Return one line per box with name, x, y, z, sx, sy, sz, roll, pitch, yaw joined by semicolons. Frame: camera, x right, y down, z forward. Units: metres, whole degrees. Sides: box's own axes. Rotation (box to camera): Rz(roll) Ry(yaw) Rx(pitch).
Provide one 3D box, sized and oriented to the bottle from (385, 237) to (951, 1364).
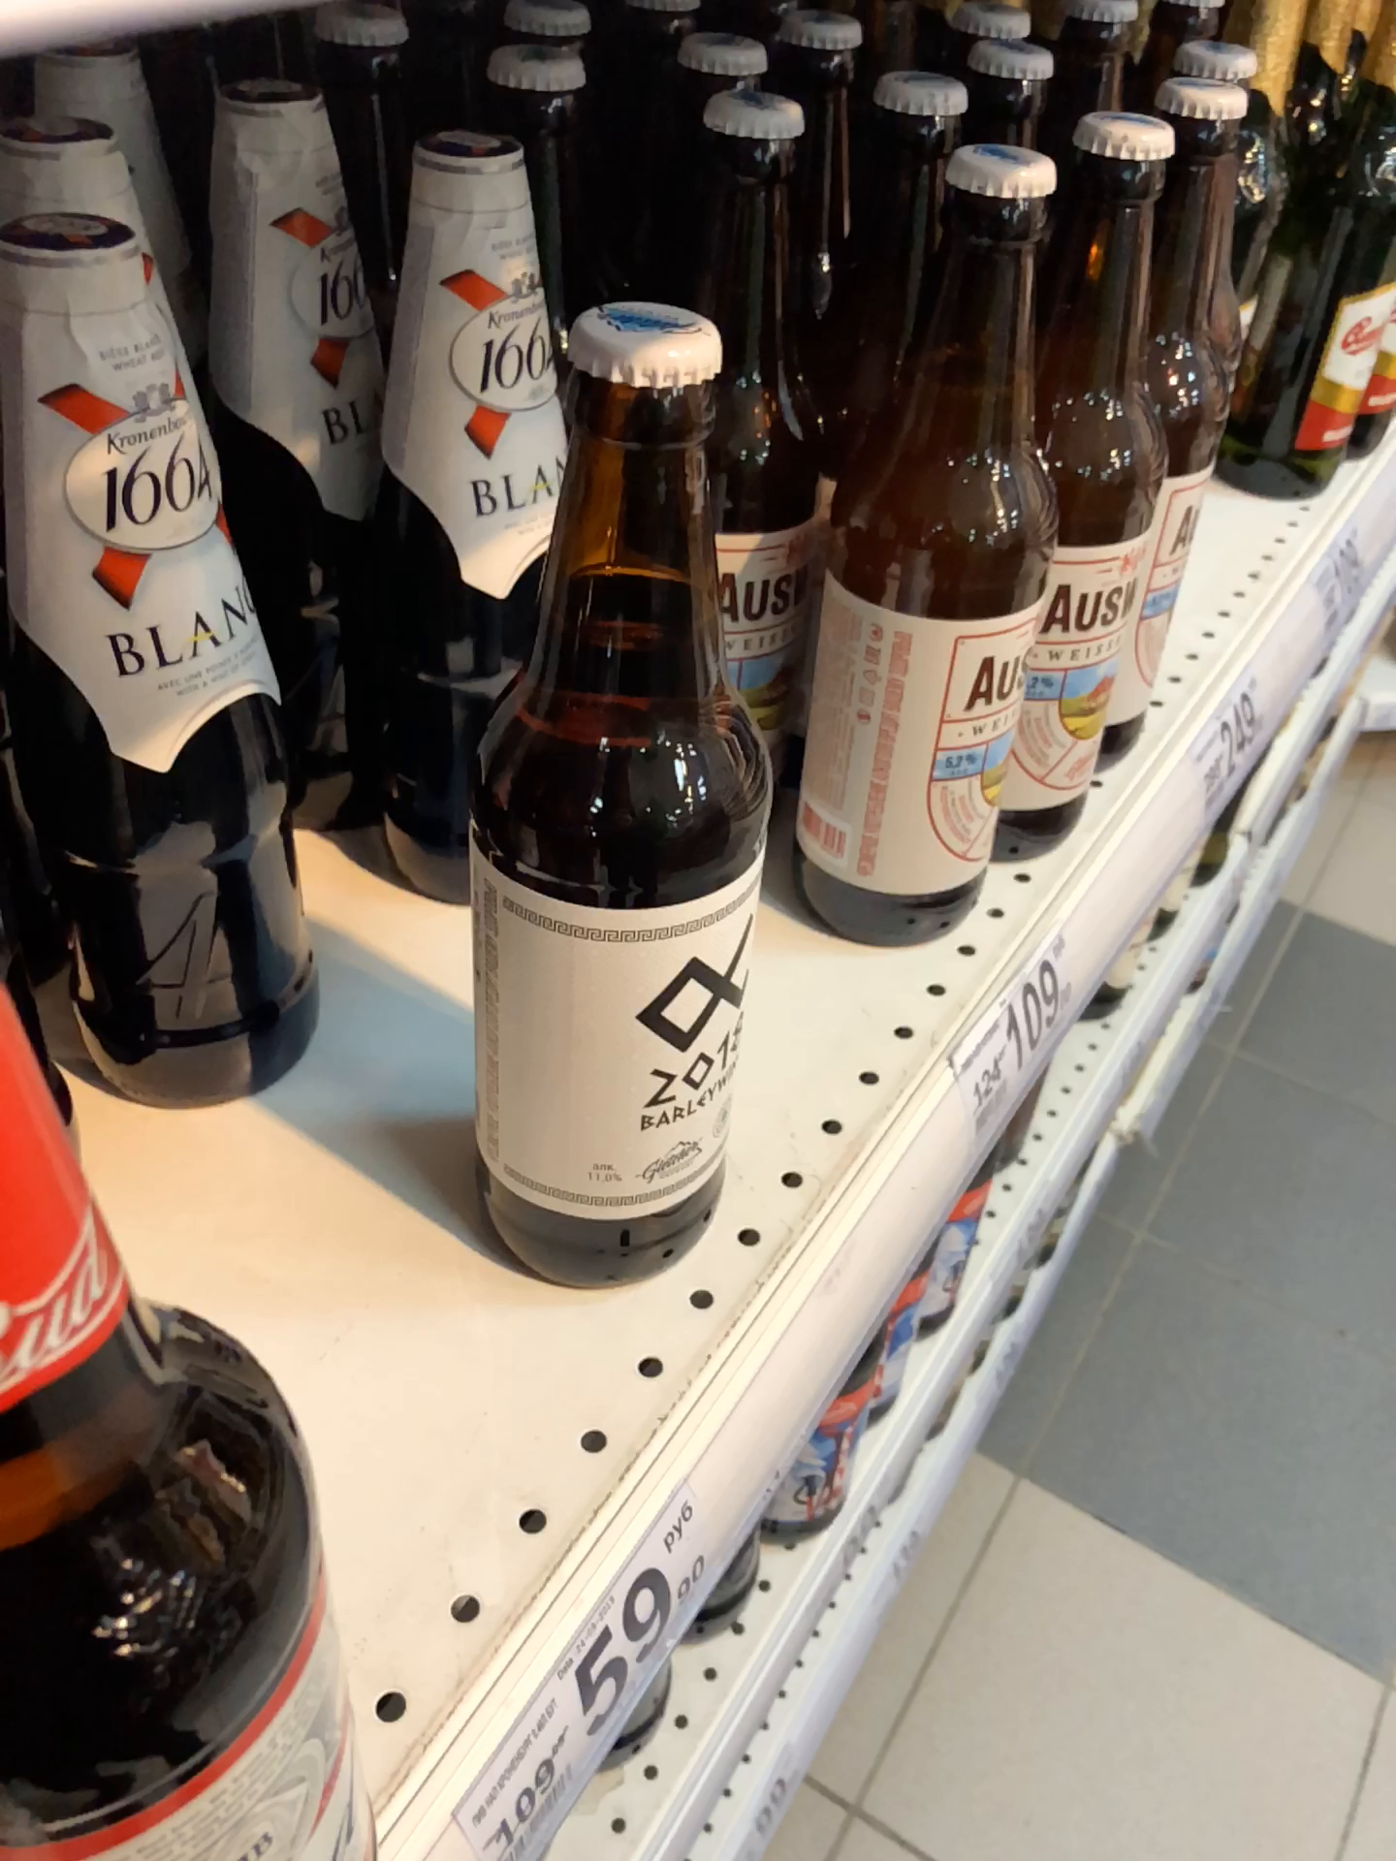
bottle;-0.015;-0.016;0.366;0.070;0.252;0.080;31;46;26
